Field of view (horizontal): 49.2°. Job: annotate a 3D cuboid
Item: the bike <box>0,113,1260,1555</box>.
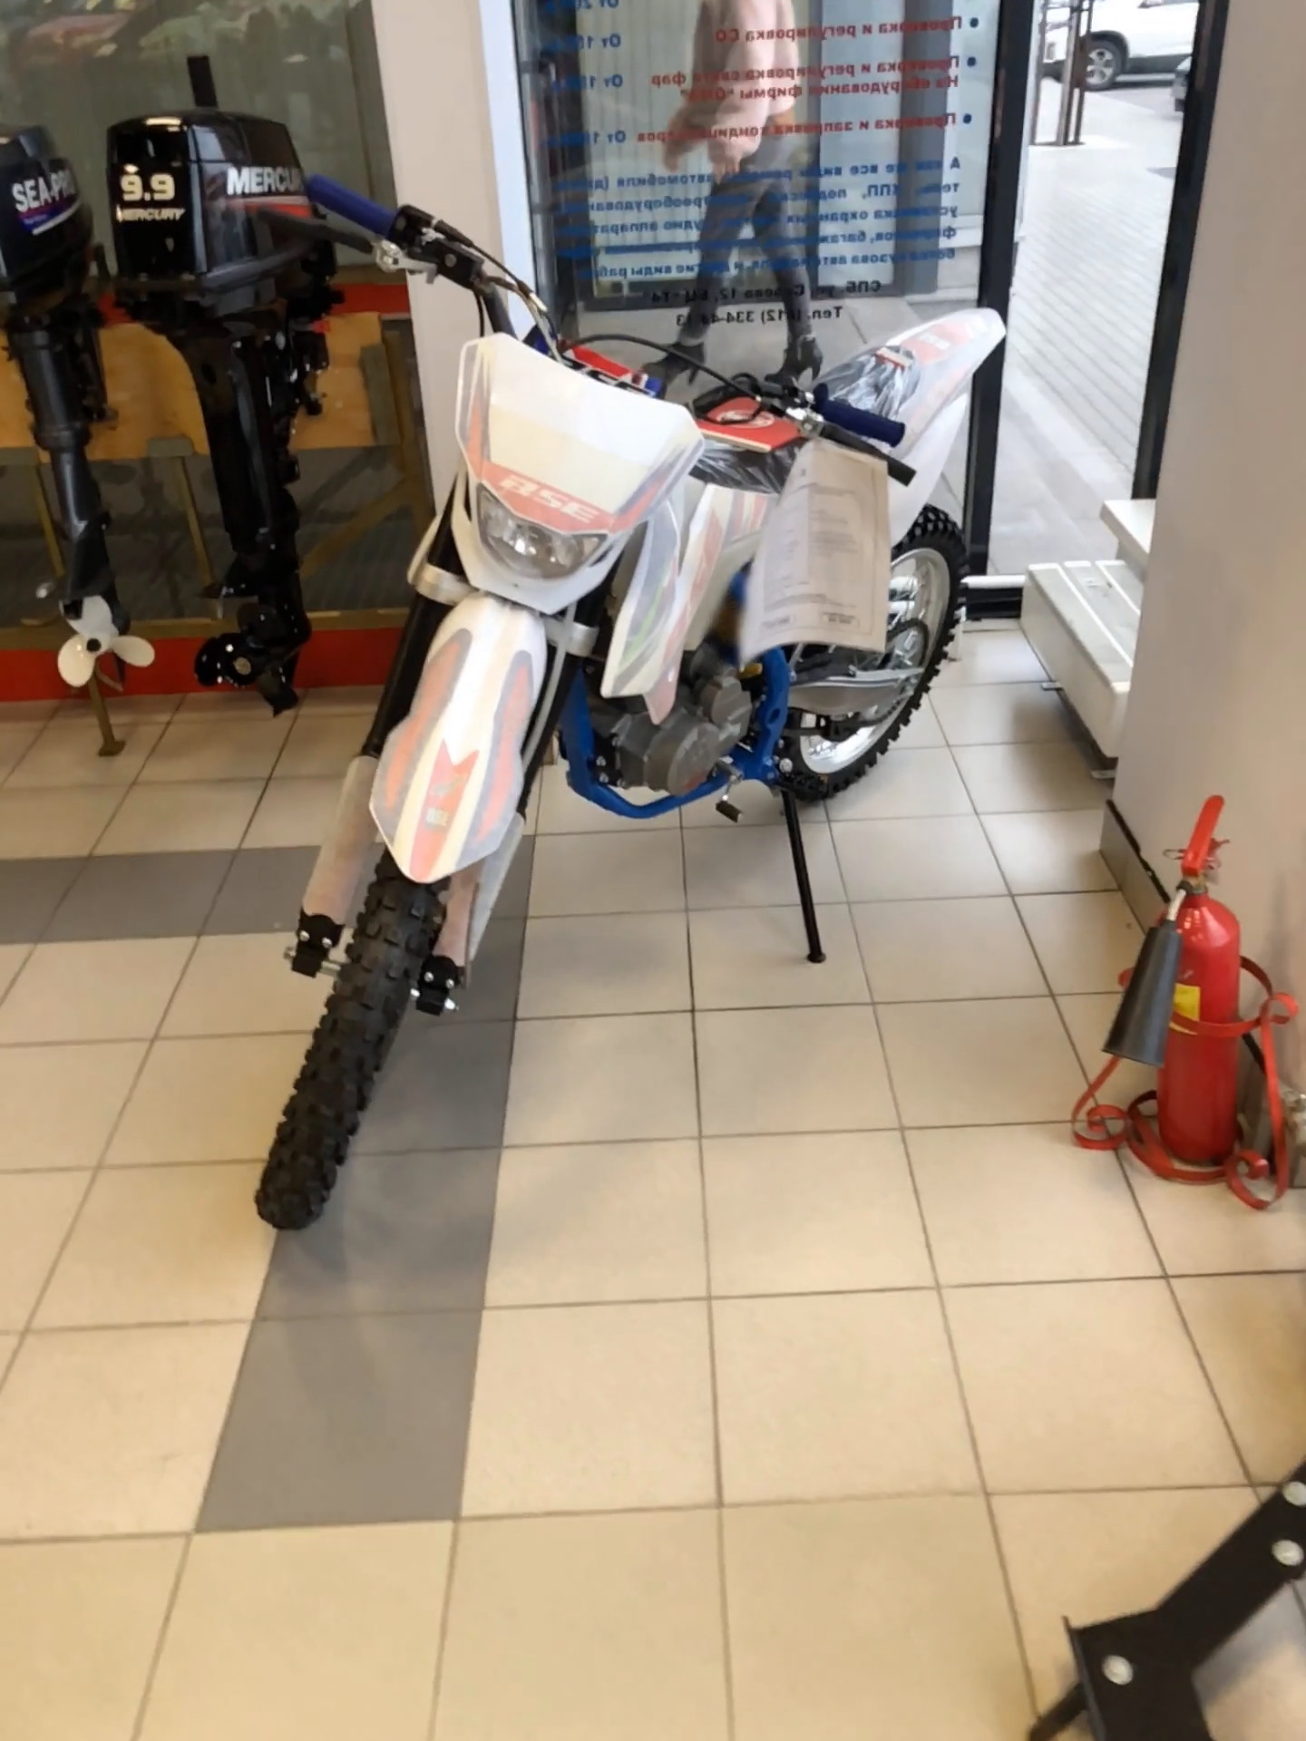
[{"bbox_3d":[0.163,-0.332,2.160,0.843,1.219,1.852,17,38,29],"label":"bike"}]
